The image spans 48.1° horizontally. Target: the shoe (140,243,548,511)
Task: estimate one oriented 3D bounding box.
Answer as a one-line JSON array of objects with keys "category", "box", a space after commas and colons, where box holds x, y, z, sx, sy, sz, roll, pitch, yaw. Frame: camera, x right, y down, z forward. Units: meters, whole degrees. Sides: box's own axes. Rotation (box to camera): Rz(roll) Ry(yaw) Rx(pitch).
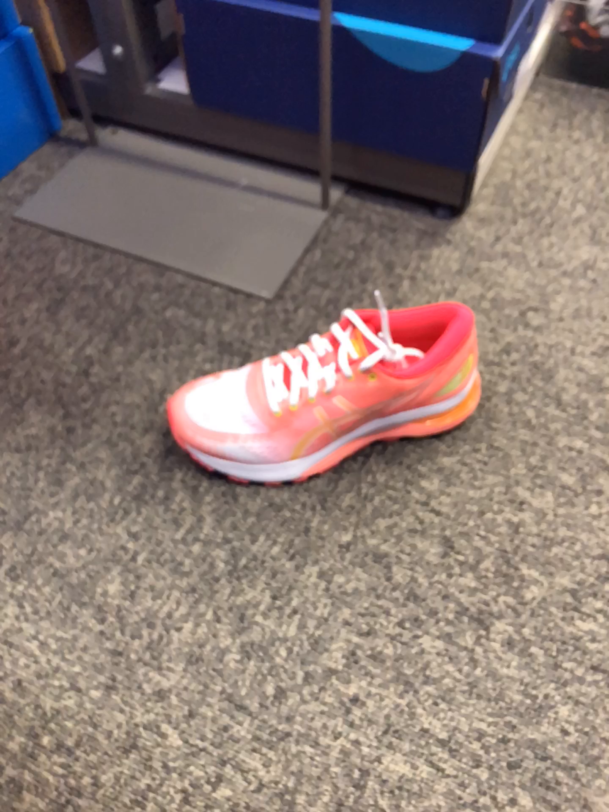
[{"category": "shoe", "box": [0.024, -0.021, 0.530, 0.268, 0.129, 0.108, -10, 54, -6]}]
